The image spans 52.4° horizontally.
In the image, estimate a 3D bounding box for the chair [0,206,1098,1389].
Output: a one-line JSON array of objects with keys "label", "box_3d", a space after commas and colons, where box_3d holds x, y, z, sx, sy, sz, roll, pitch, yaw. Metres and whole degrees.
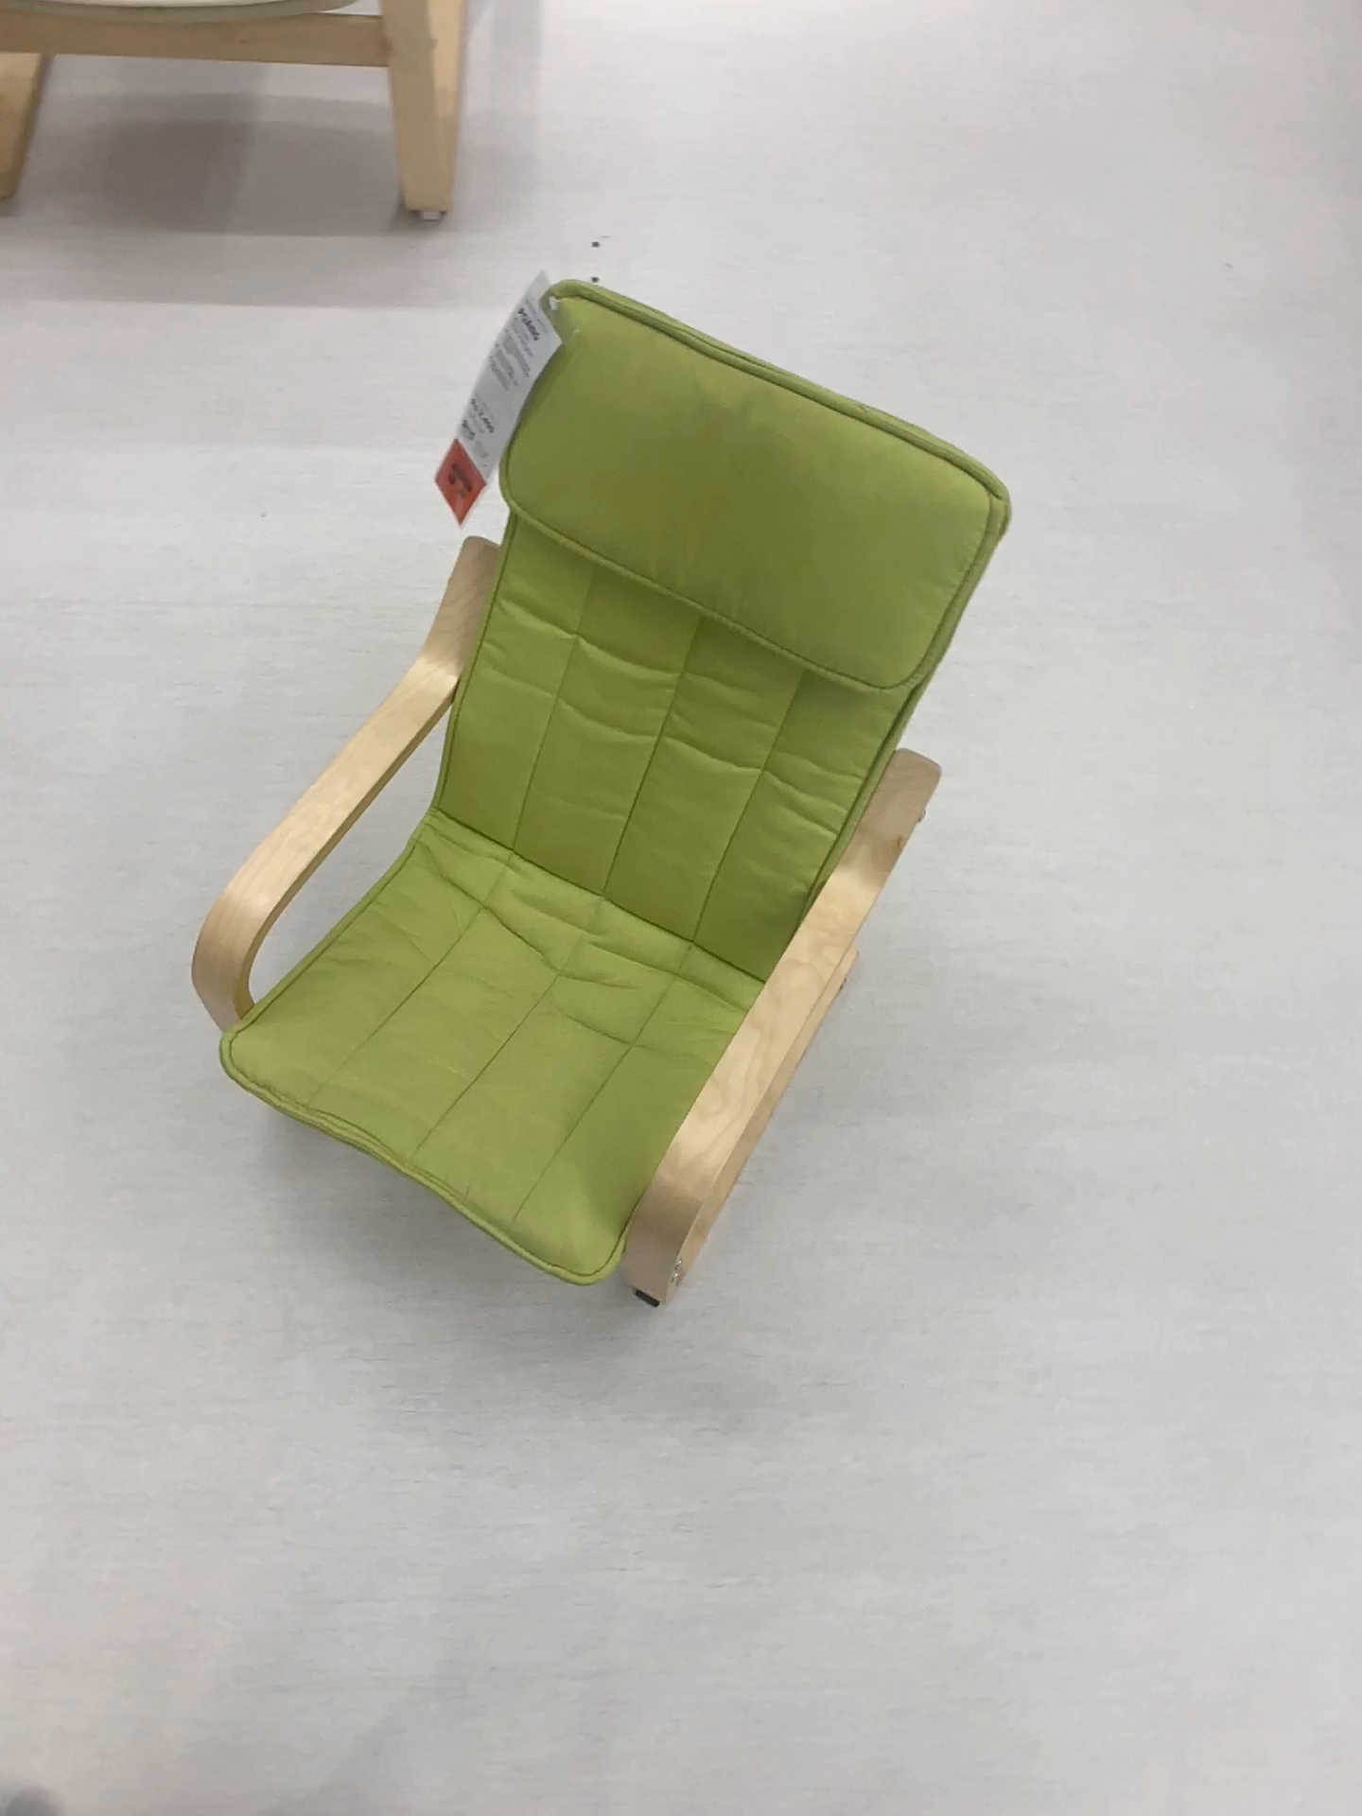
[{"label": "chair", "box_3d": [-0.099, -0.009, 1.246, 0.520, 0.819, 0.571, 27, 66, 9]}]
